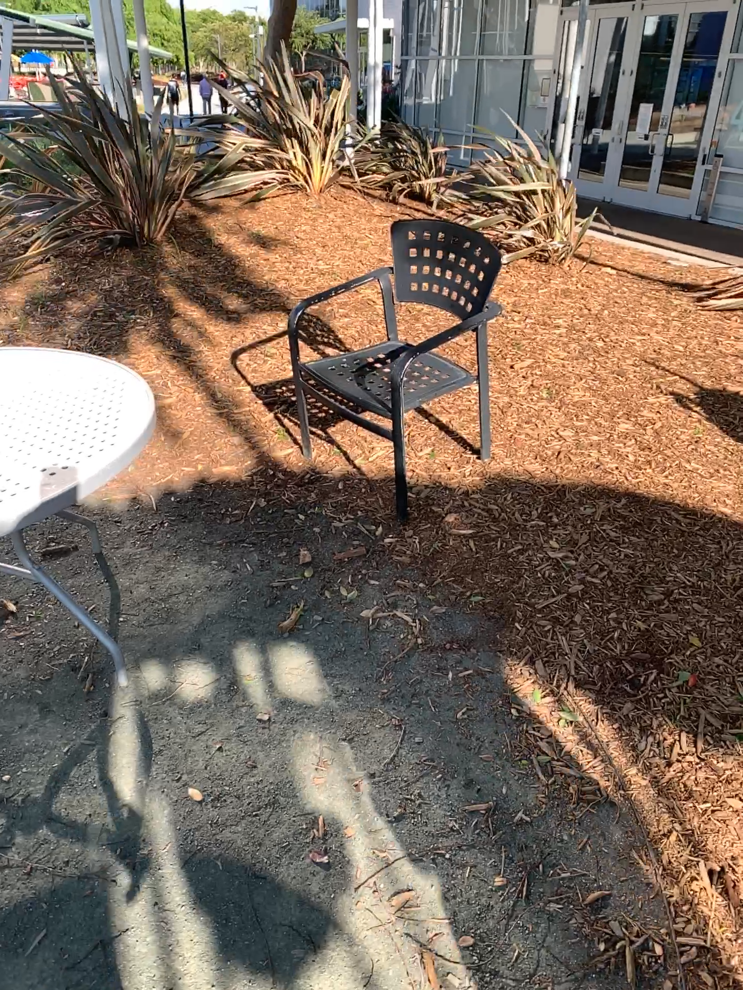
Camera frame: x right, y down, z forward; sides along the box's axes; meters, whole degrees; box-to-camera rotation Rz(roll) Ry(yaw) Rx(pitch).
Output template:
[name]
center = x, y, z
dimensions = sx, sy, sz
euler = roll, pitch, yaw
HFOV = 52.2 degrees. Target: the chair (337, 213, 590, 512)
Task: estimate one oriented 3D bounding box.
[chair]
center = 0.252, -0.441, 2.351
dimensions = 0.501, 0.716, 0.522
euler = -21, 36, -34
